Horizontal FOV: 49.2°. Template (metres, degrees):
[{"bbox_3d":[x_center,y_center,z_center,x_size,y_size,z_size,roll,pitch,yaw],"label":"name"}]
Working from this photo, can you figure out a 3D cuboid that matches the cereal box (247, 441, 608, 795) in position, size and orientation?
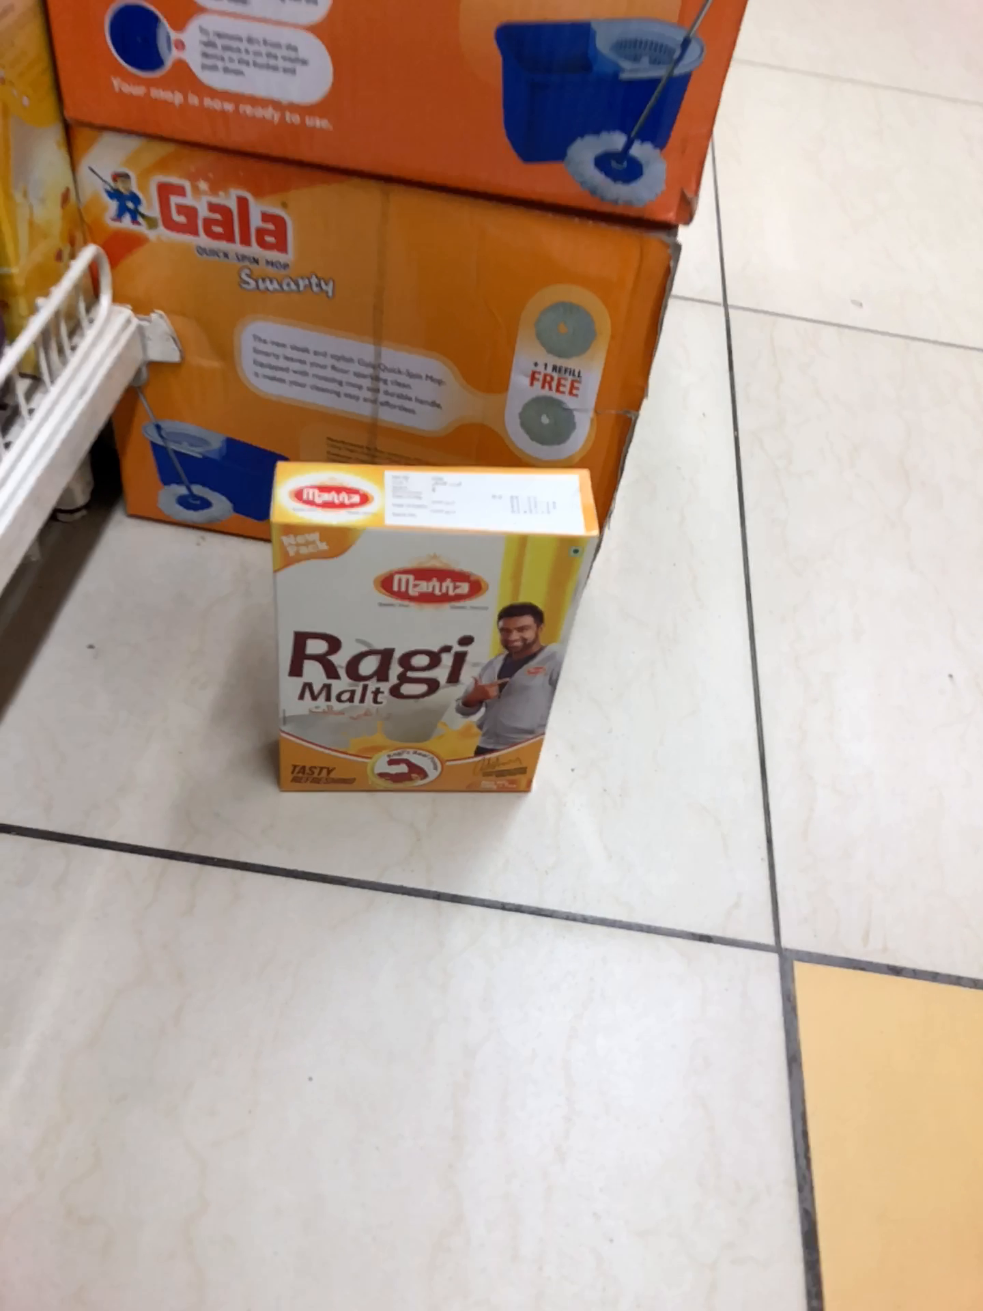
[{"bbox_3d":[-0.036,-0.008,0.498,0.140,0.179,0.050,1,48,-8],"label":"cereal box"}]
